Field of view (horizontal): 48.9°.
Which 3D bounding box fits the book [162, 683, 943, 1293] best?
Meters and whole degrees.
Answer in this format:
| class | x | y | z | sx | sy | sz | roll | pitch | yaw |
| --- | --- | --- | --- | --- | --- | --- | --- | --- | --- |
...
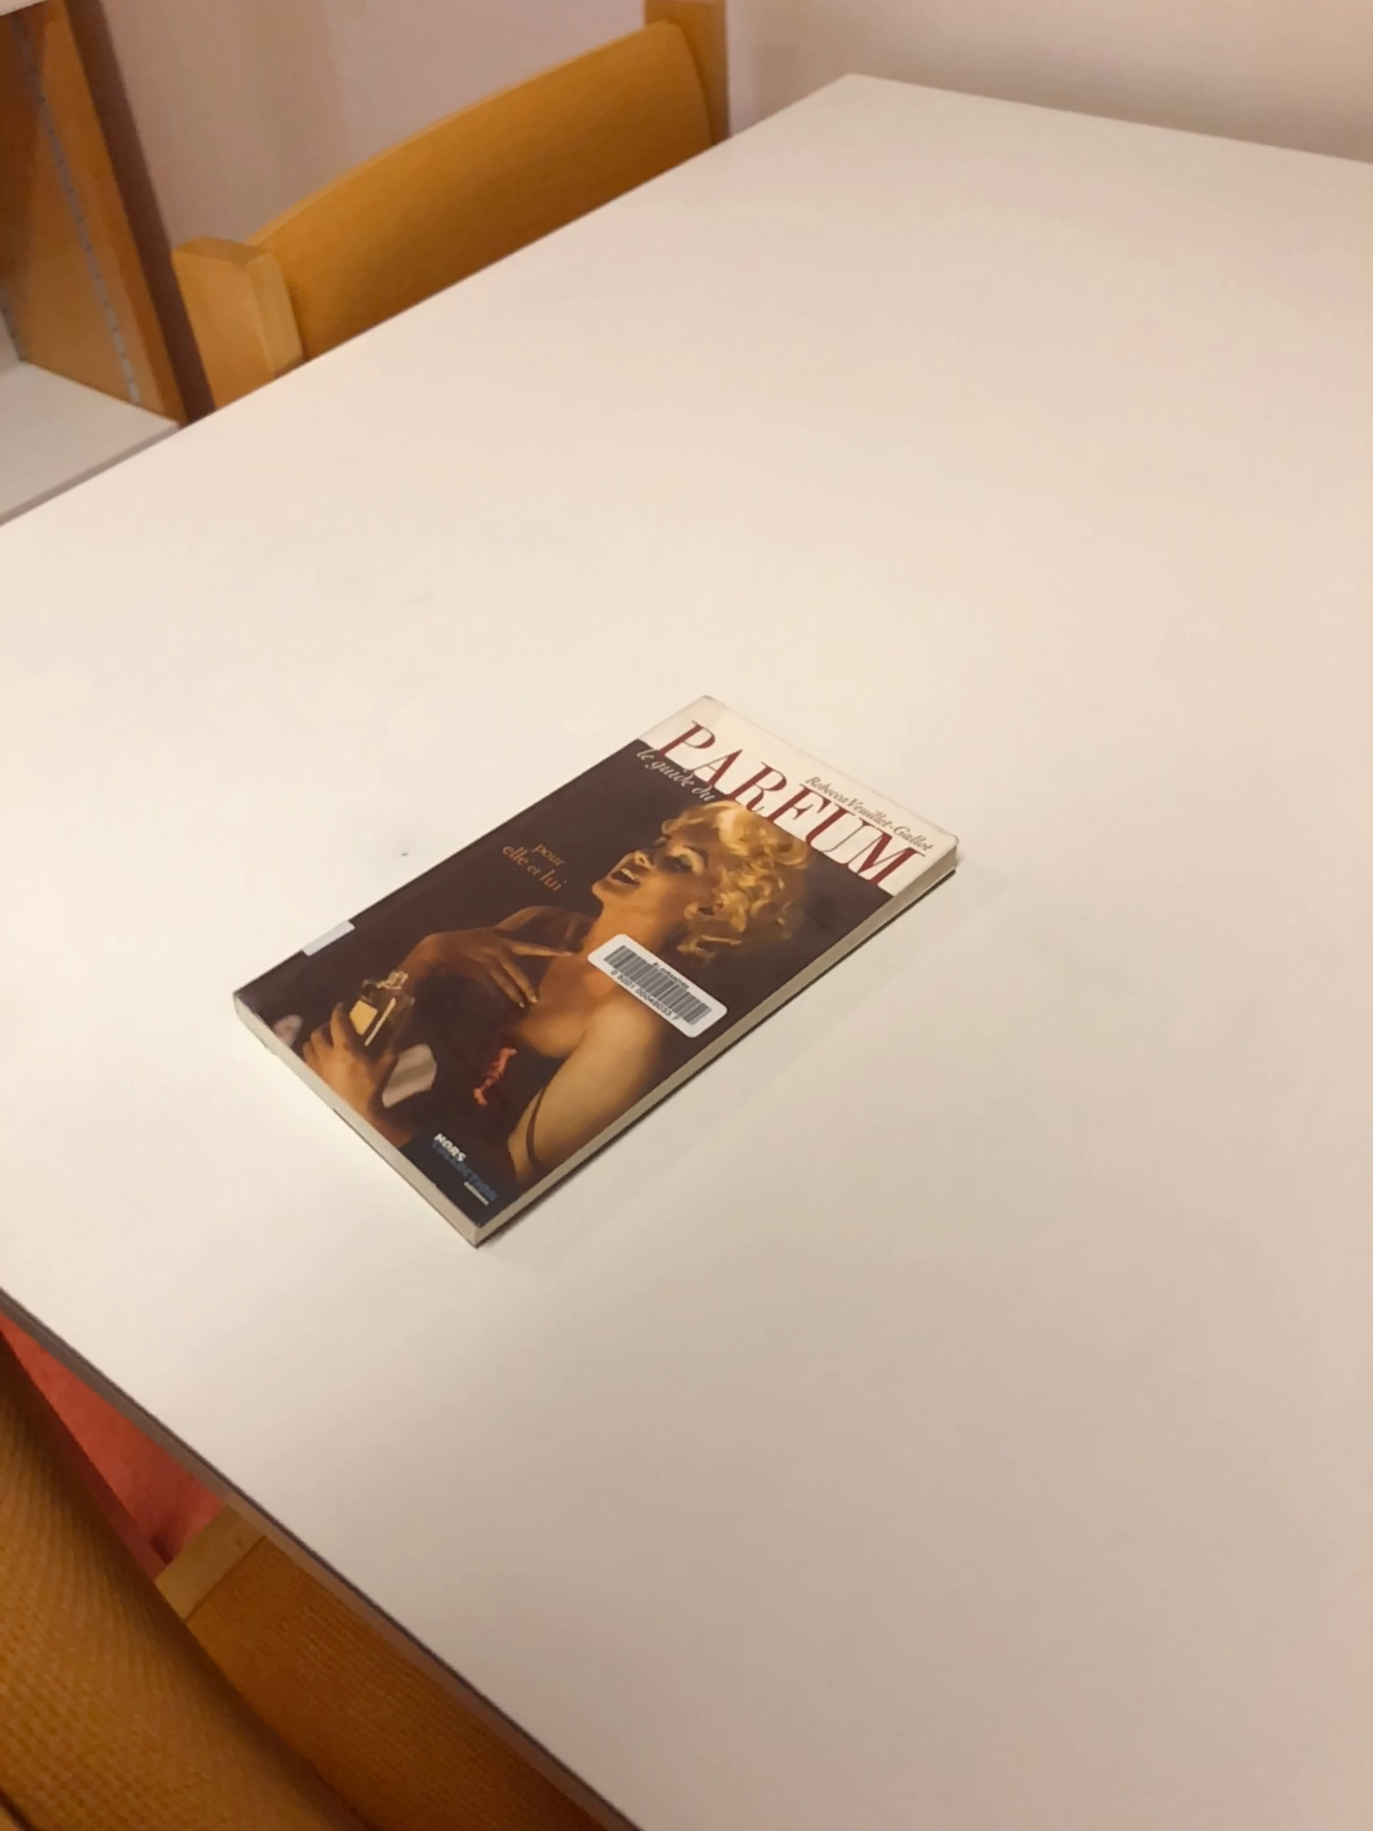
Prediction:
| class | x | y | z | sx | sy | sz | roll | pitch | yaw |
| --- | --- | --- | --- | --- | --- | --- | --- | --- | --- |
| book | -0.038 | 0.007 | 0.482 | 0.211 | 0.020 | 0.133 | -36 | 53 | -29 |
